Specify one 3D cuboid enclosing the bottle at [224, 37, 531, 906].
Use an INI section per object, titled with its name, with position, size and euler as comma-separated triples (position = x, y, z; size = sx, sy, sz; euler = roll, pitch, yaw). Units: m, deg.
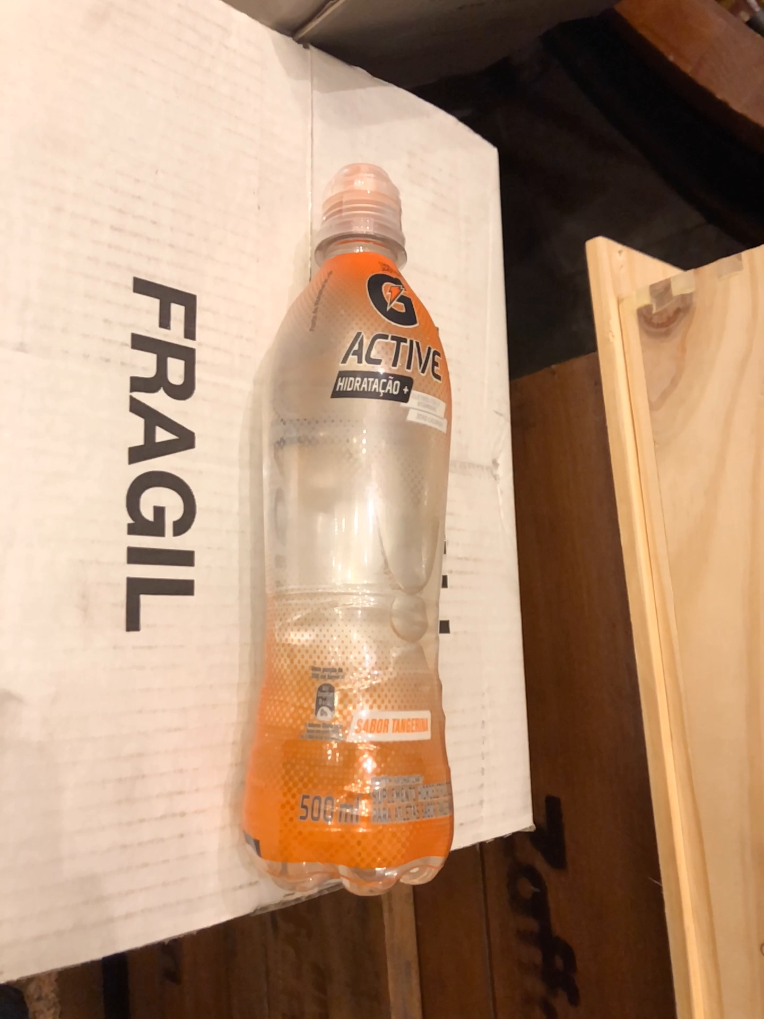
[bottle]
position = 0.002, -0.014, 0.281
size = 0.070, 0.060, 0.250
euler = 12, 74, -41
